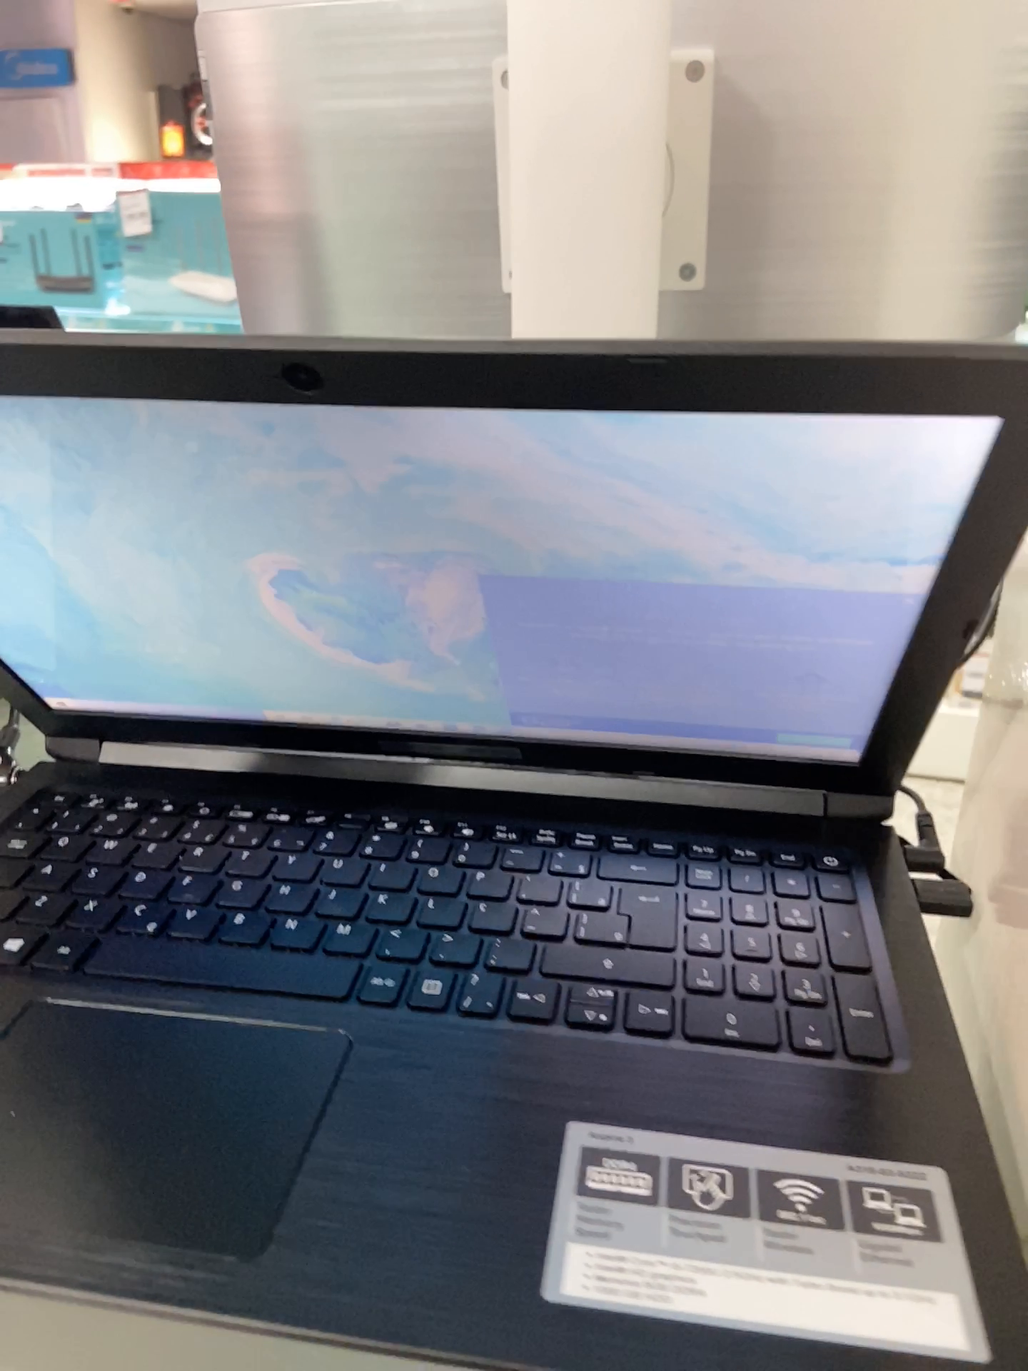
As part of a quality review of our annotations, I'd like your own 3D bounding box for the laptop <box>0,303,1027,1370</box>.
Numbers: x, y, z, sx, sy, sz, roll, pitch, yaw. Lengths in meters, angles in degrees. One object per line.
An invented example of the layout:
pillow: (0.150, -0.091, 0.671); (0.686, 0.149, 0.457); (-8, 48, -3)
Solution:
laptop: (-0.049, 0.005, 0.310); (0.367, 0.193, 0.235); (2, 24, 9)
